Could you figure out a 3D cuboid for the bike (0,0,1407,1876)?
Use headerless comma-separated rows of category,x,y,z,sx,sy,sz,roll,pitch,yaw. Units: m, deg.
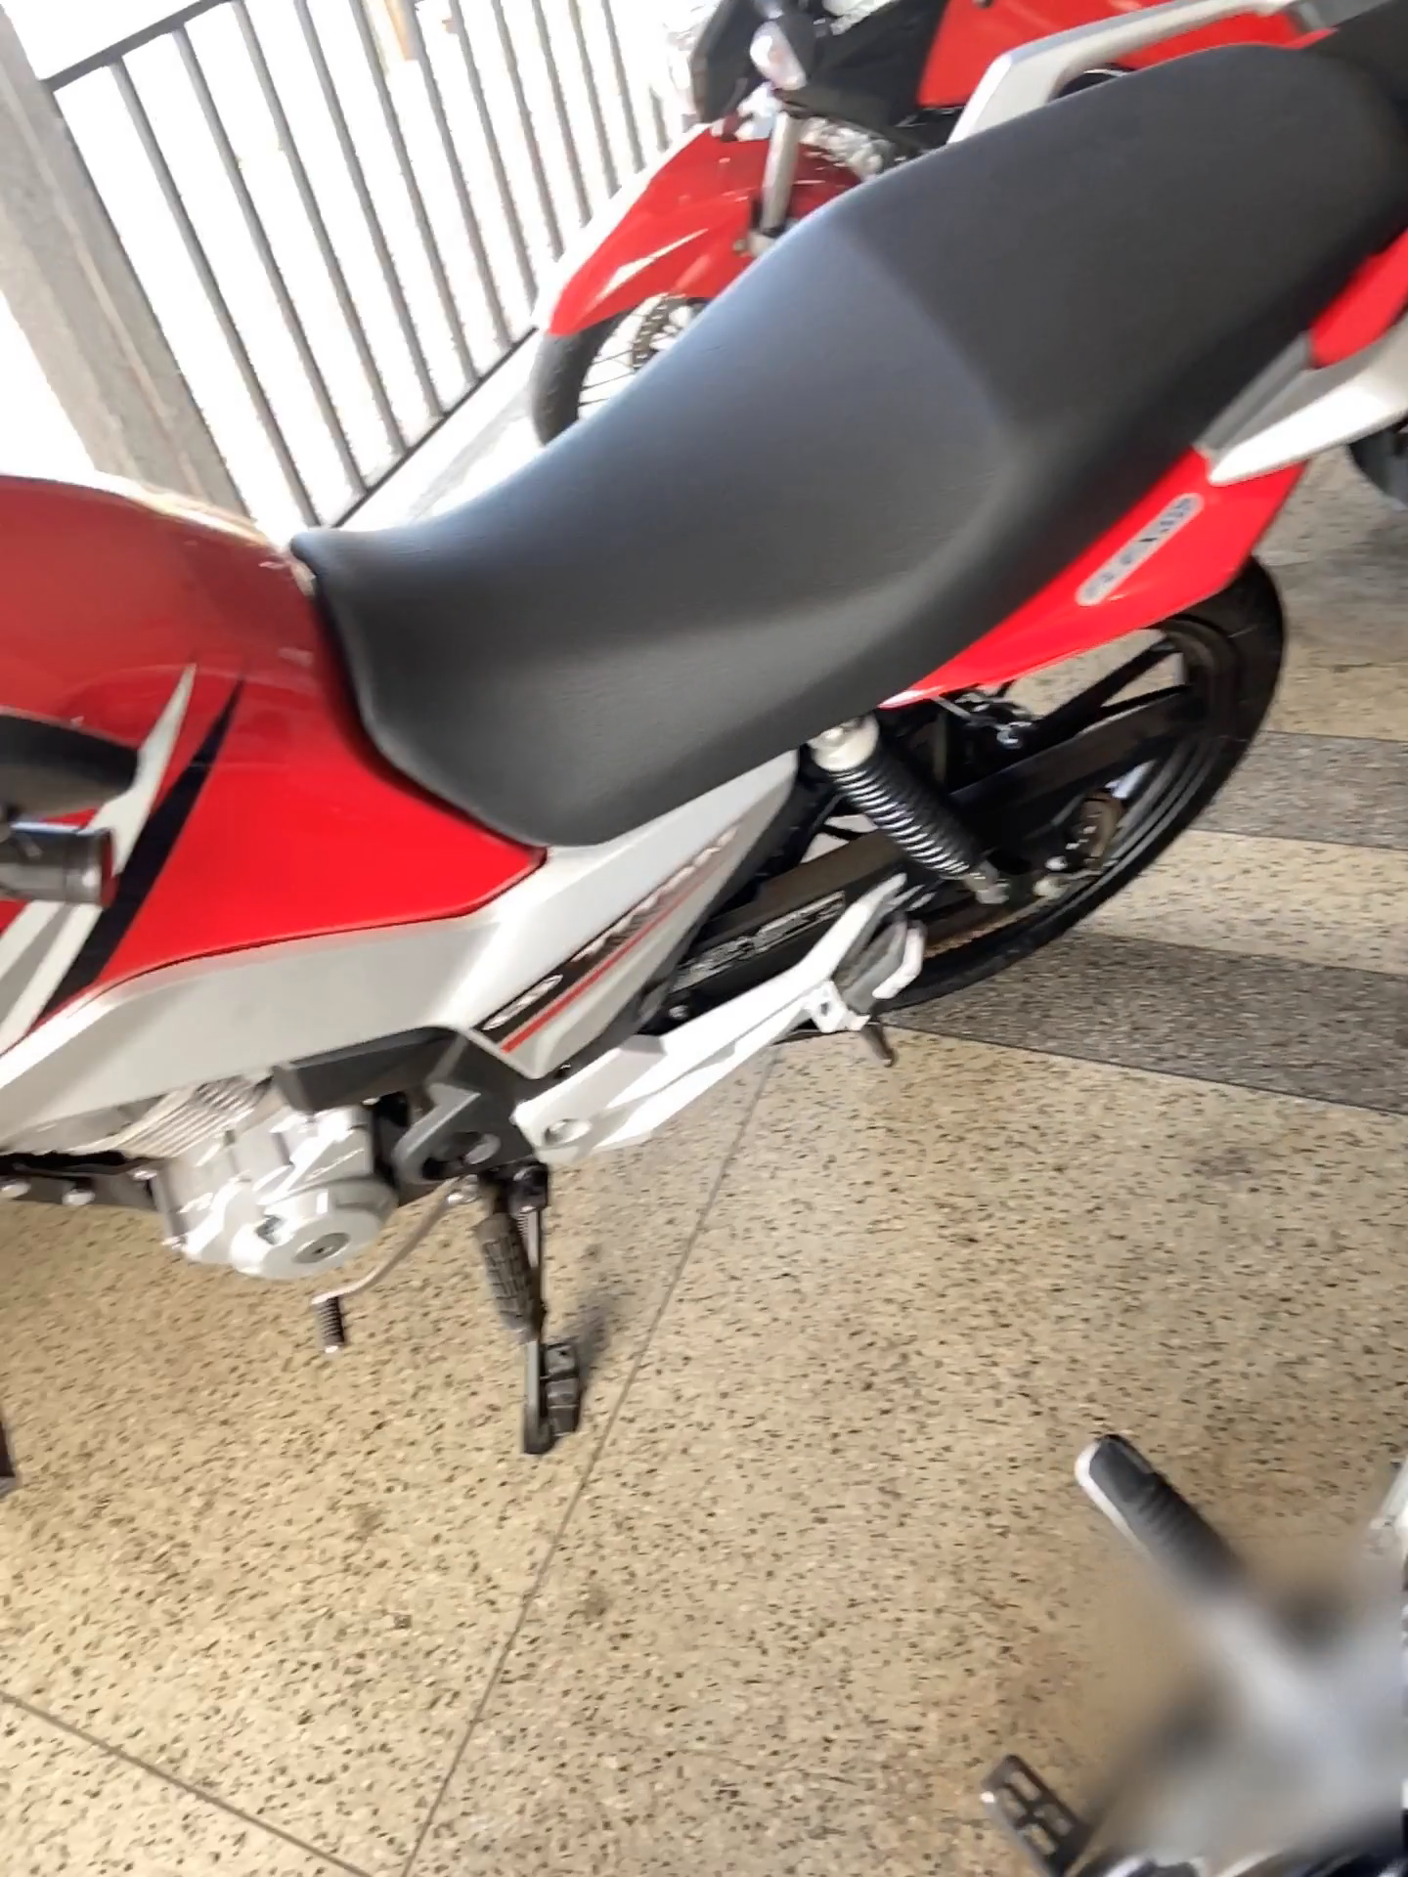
bike,-0.255,0.119,0.999,1.992,1.422,0.872,-31,44,-13
